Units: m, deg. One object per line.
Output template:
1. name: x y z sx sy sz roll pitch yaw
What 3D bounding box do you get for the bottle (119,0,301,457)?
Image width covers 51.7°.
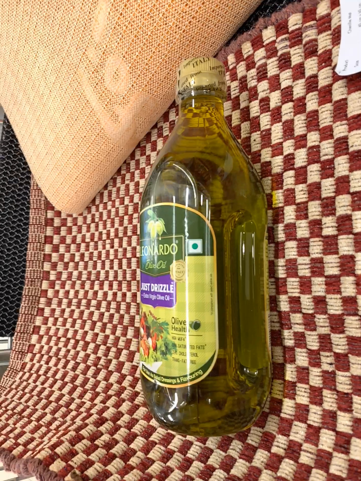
1. bottle: 0.019 -0.013 0.237 0.080 0.070 0.240 1 88 42
